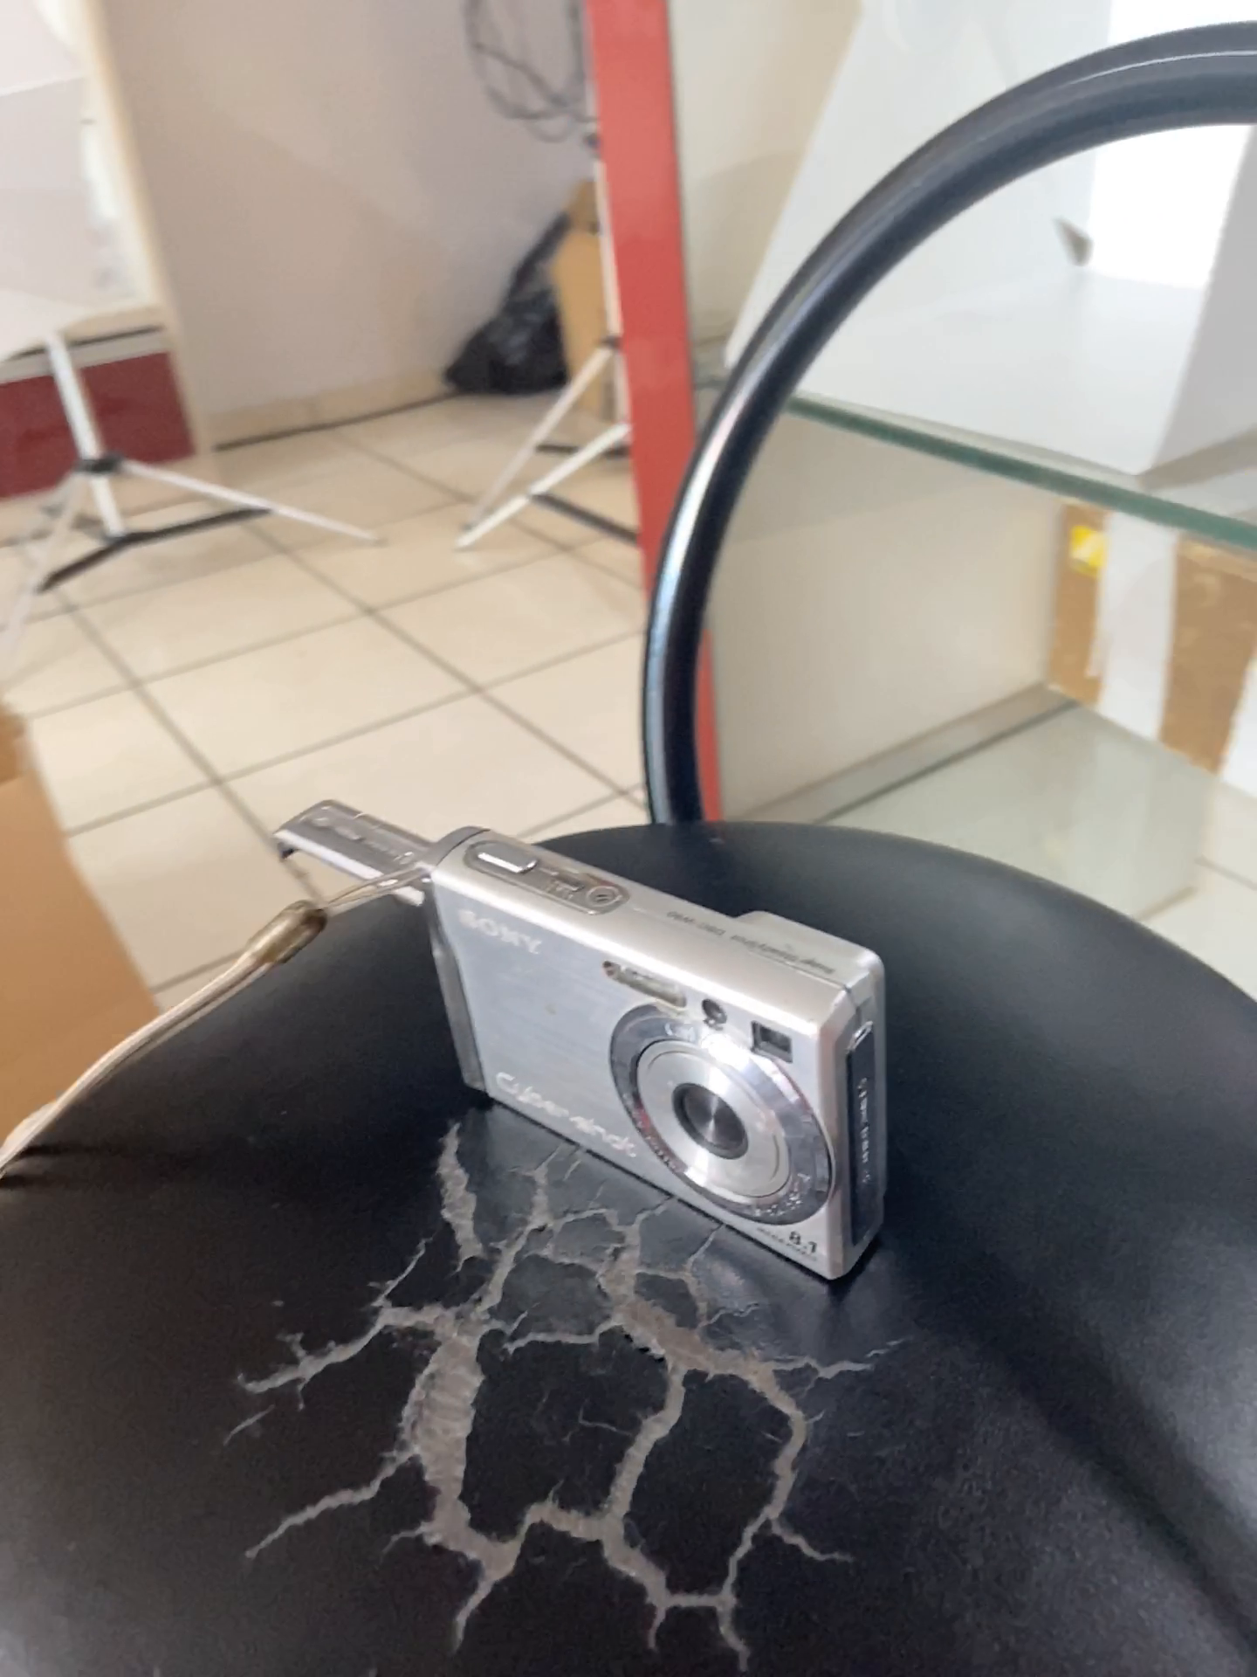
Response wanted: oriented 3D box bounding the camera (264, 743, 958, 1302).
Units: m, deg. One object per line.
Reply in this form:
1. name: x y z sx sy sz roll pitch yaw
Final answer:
1. camera: -0.008 0.028 0.247 0.136 0.053 0.030 20 40 34
